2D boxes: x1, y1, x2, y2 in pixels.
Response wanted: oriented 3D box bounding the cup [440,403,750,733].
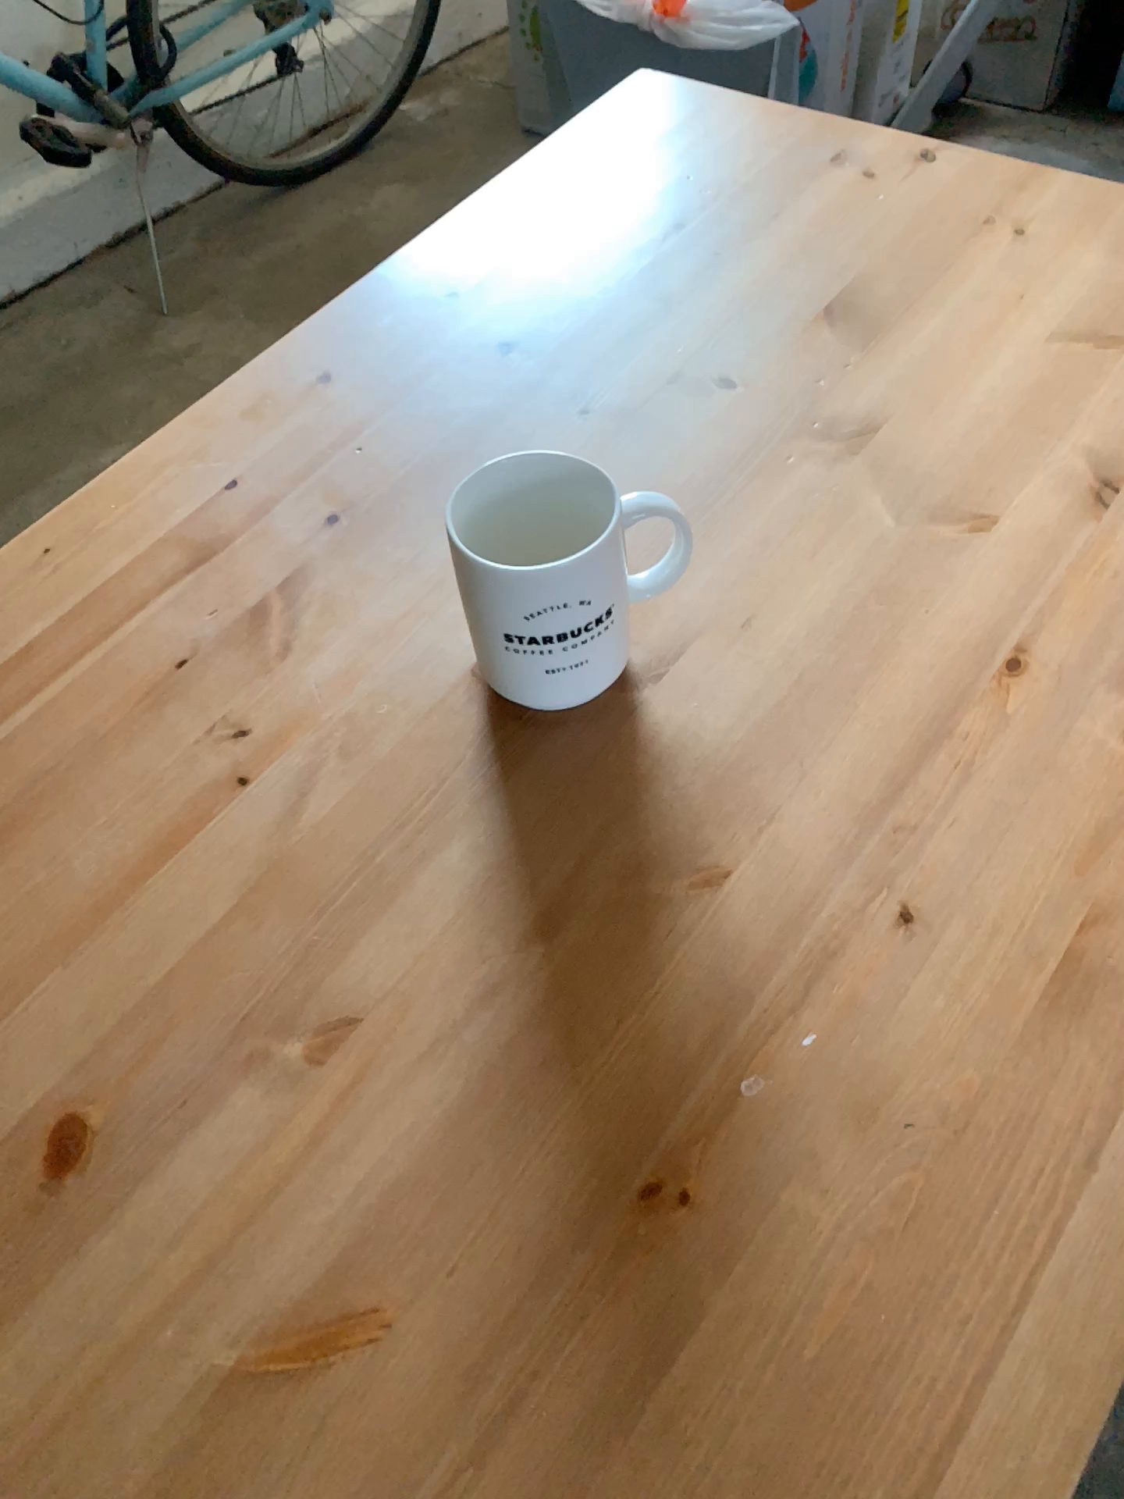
[{"bbox_3d":[0.018,-0.088,0.566,0.120,0.100,0.080,-21,56,-9],"label":"cup"}]
